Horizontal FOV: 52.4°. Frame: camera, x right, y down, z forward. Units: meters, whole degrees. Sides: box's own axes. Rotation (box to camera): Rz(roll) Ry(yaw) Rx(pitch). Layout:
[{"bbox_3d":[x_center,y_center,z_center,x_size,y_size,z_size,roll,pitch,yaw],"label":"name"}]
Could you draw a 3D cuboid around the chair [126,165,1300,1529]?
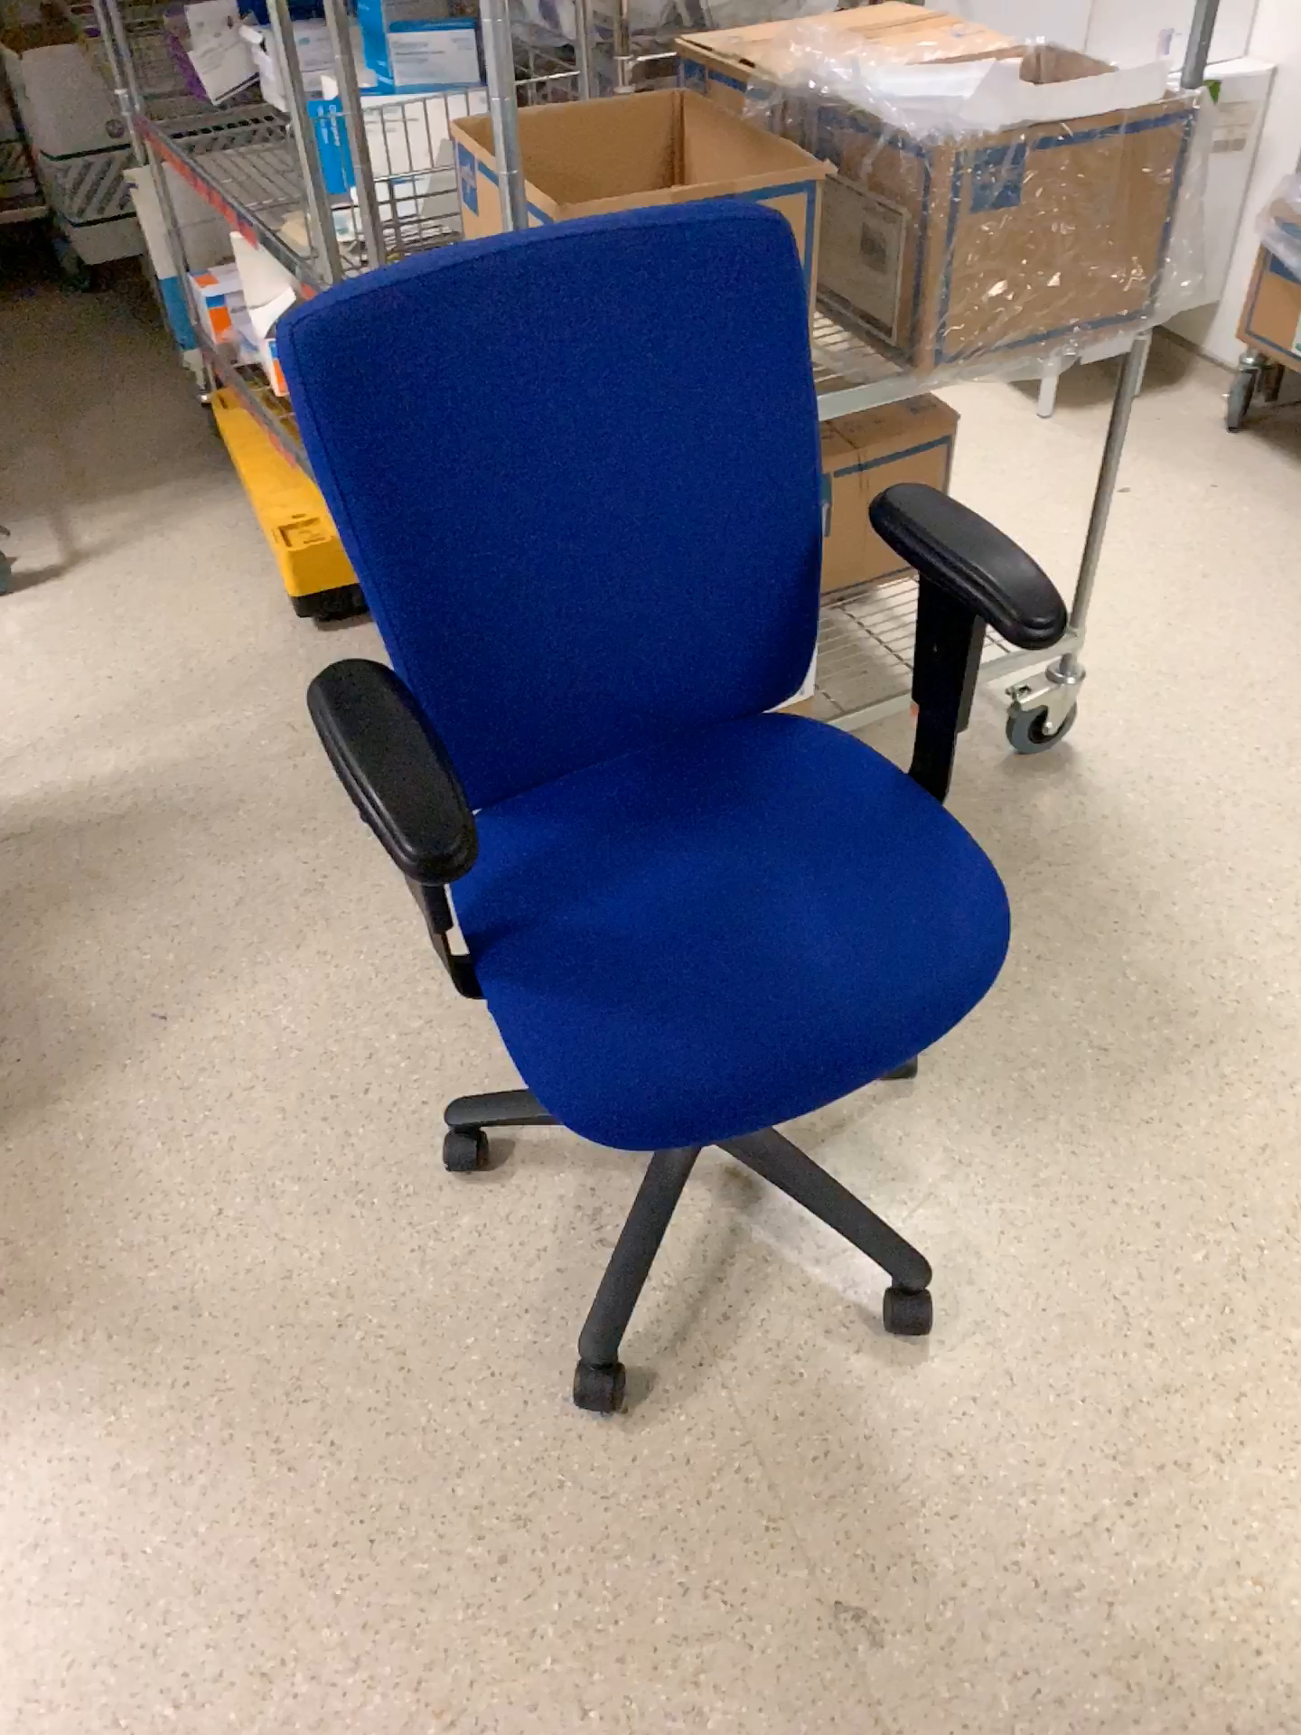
[{"bbox_3d":[0.031,-0.023,1.272,0.679,0.950,0.671,-18,45,-16],"label":"chair"}]
